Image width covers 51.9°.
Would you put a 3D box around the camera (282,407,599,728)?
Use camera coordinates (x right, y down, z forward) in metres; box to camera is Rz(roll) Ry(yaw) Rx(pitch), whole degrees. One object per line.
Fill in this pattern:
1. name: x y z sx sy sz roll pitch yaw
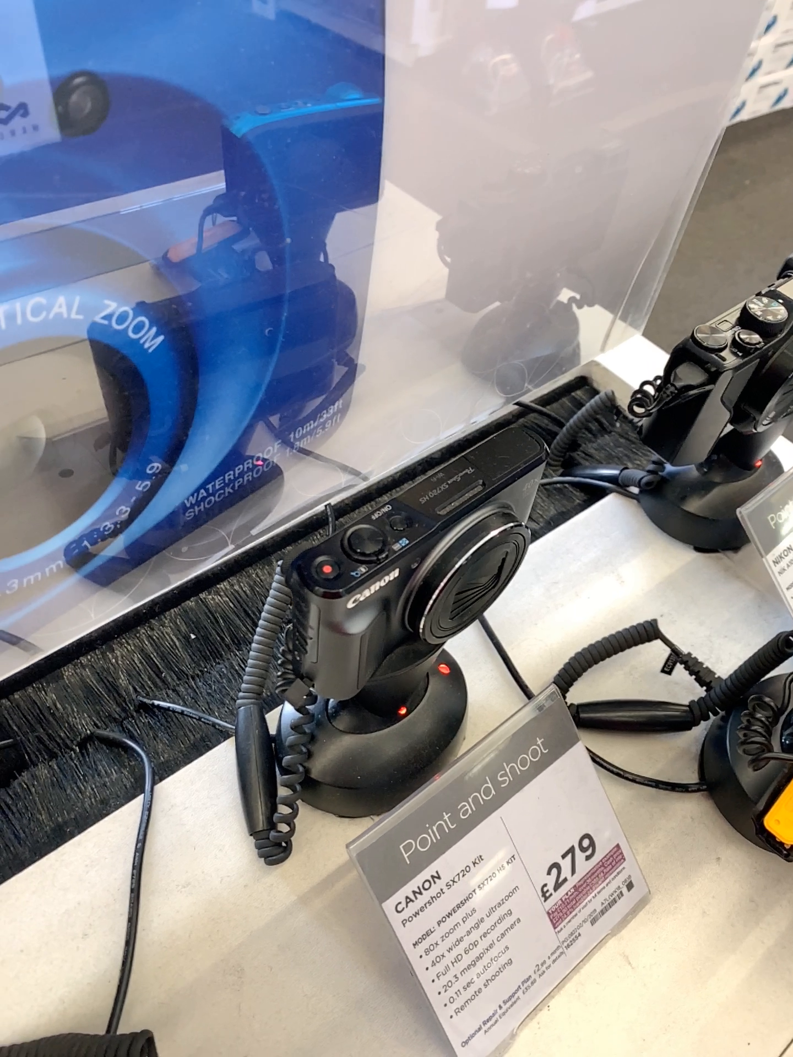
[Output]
1. camera: 0.015 0.011 0.283 0.113 0.061 0.031 -32 61 -30
